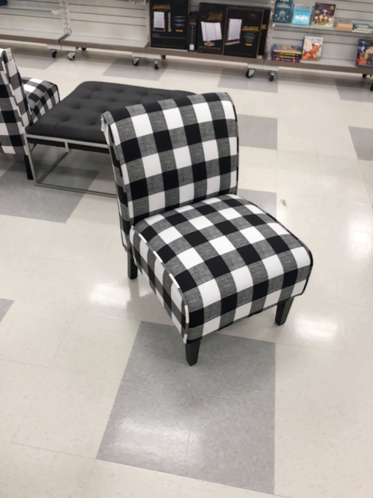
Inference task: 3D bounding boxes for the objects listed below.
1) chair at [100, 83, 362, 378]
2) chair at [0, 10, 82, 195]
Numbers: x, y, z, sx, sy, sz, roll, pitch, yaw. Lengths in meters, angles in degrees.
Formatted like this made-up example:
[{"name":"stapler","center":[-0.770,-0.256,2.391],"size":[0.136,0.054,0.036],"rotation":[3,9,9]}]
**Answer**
[{"name":"chair","center":[0.105,-0.104,1.694],"size":[0.626,0.832,0.701],"rotation":[-19,45,-23]},{"name":"chair","center":[-1.146,-0.927,2.580],"size":[0.624,0.832,0.733],"rotation":[8,41,6]}]
